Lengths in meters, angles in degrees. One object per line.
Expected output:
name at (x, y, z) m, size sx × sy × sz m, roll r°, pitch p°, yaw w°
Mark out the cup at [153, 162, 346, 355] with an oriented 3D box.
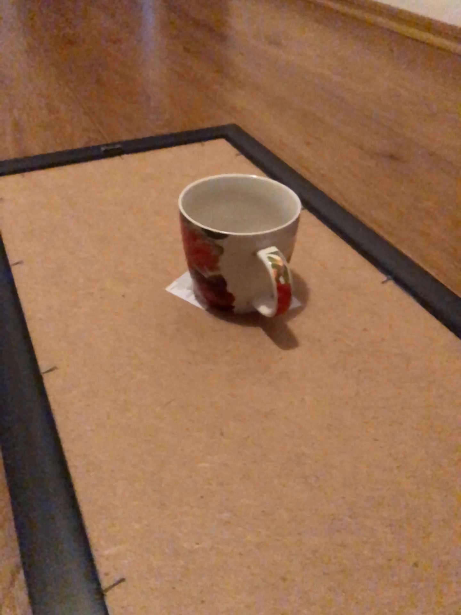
cup at (0.008, -0.045, 0.404) m, size 0.098 × 0.079 × 0.122 m, roll -16°, pitch 44°, yaw -21°
